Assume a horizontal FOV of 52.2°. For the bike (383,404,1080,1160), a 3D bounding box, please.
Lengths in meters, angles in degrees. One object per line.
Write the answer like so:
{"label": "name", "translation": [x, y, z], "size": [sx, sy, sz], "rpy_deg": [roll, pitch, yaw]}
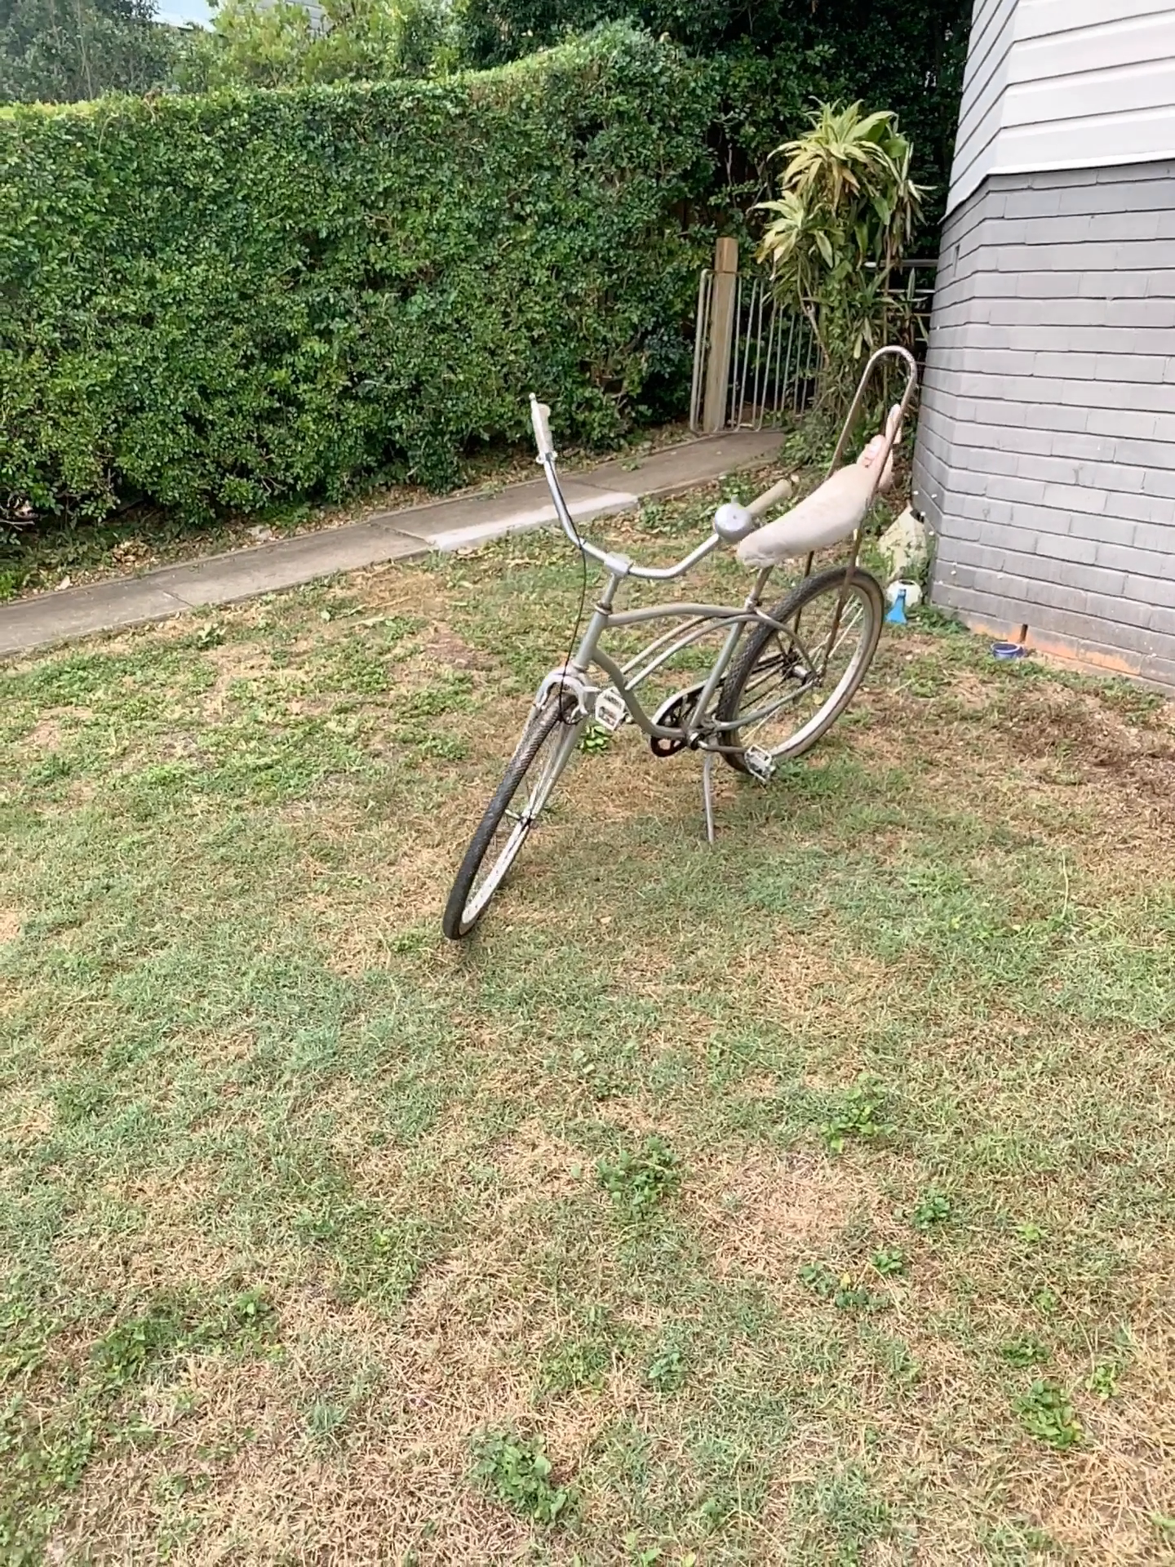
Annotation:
{"label": "bike", "translation": [0.374, -0.185, 2.931], "size": [0.802, 0.990, 1.604], "rpy_deg": [20, 35, 40]}
